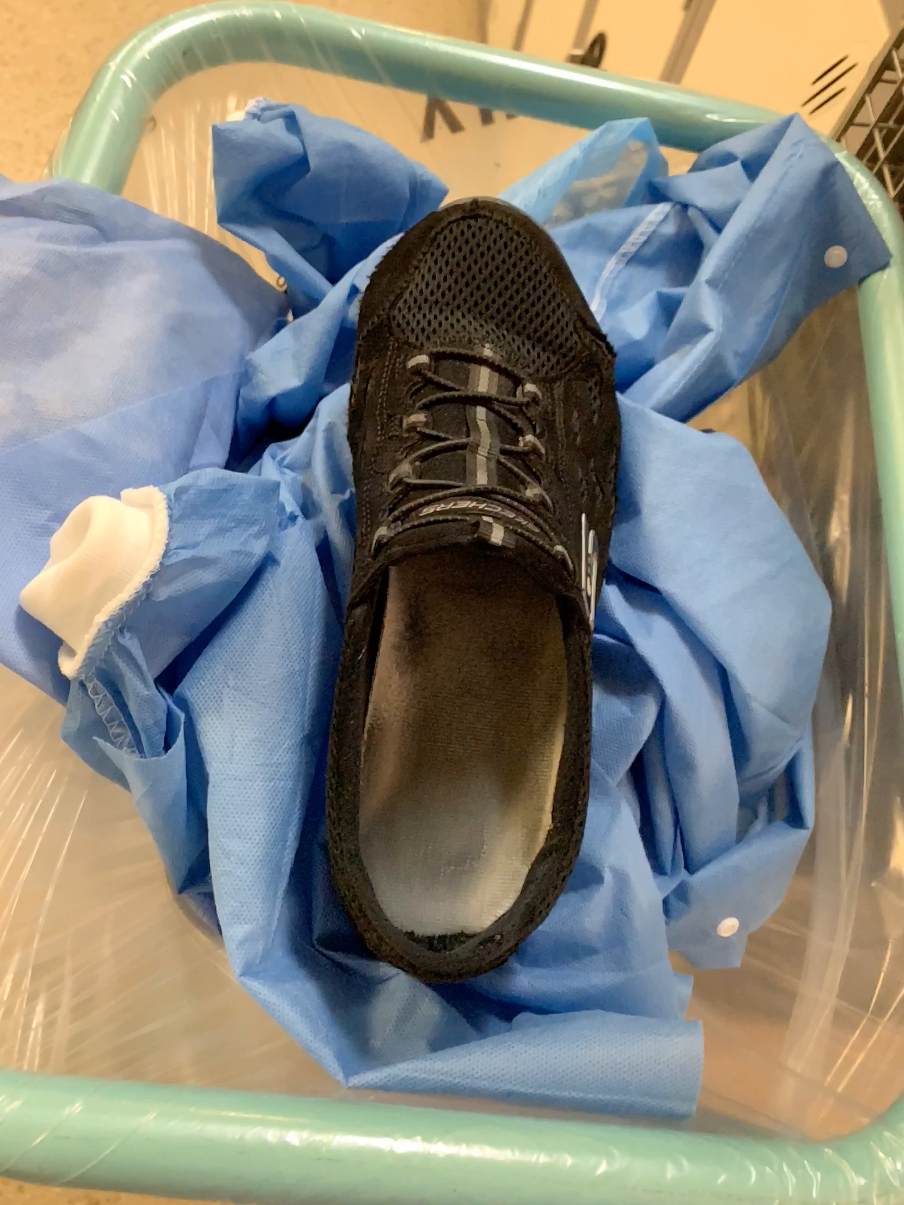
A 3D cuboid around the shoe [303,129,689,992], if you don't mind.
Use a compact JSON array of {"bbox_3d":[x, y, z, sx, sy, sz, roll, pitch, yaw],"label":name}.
[{"bbox_3d":[0.011,-0.015,0.303,0.088,0.094,0.255,6,67,-7],"label":"shoe"}]
